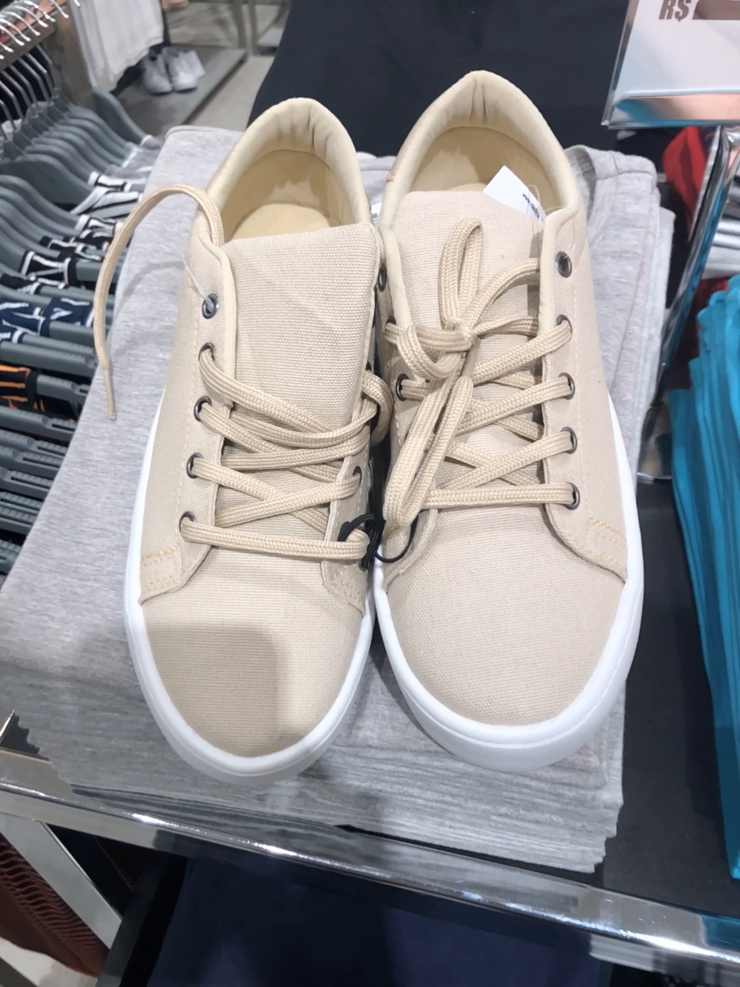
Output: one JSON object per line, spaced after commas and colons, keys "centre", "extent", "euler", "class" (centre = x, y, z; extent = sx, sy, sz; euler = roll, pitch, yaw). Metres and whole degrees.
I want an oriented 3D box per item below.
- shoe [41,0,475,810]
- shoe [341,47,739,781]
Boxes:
{"centre": [-0.024, -0.041, 0.307], "extent": [0.100, 0.109, 0.282], "euler": [7, 62, -4], "class": "shoe"}
{"centre": [0.054, -0.053, 0.323], "extent": [0.110, 0.109, 0.292], "euler": [0, 51, 3], "class": "shoe"}
